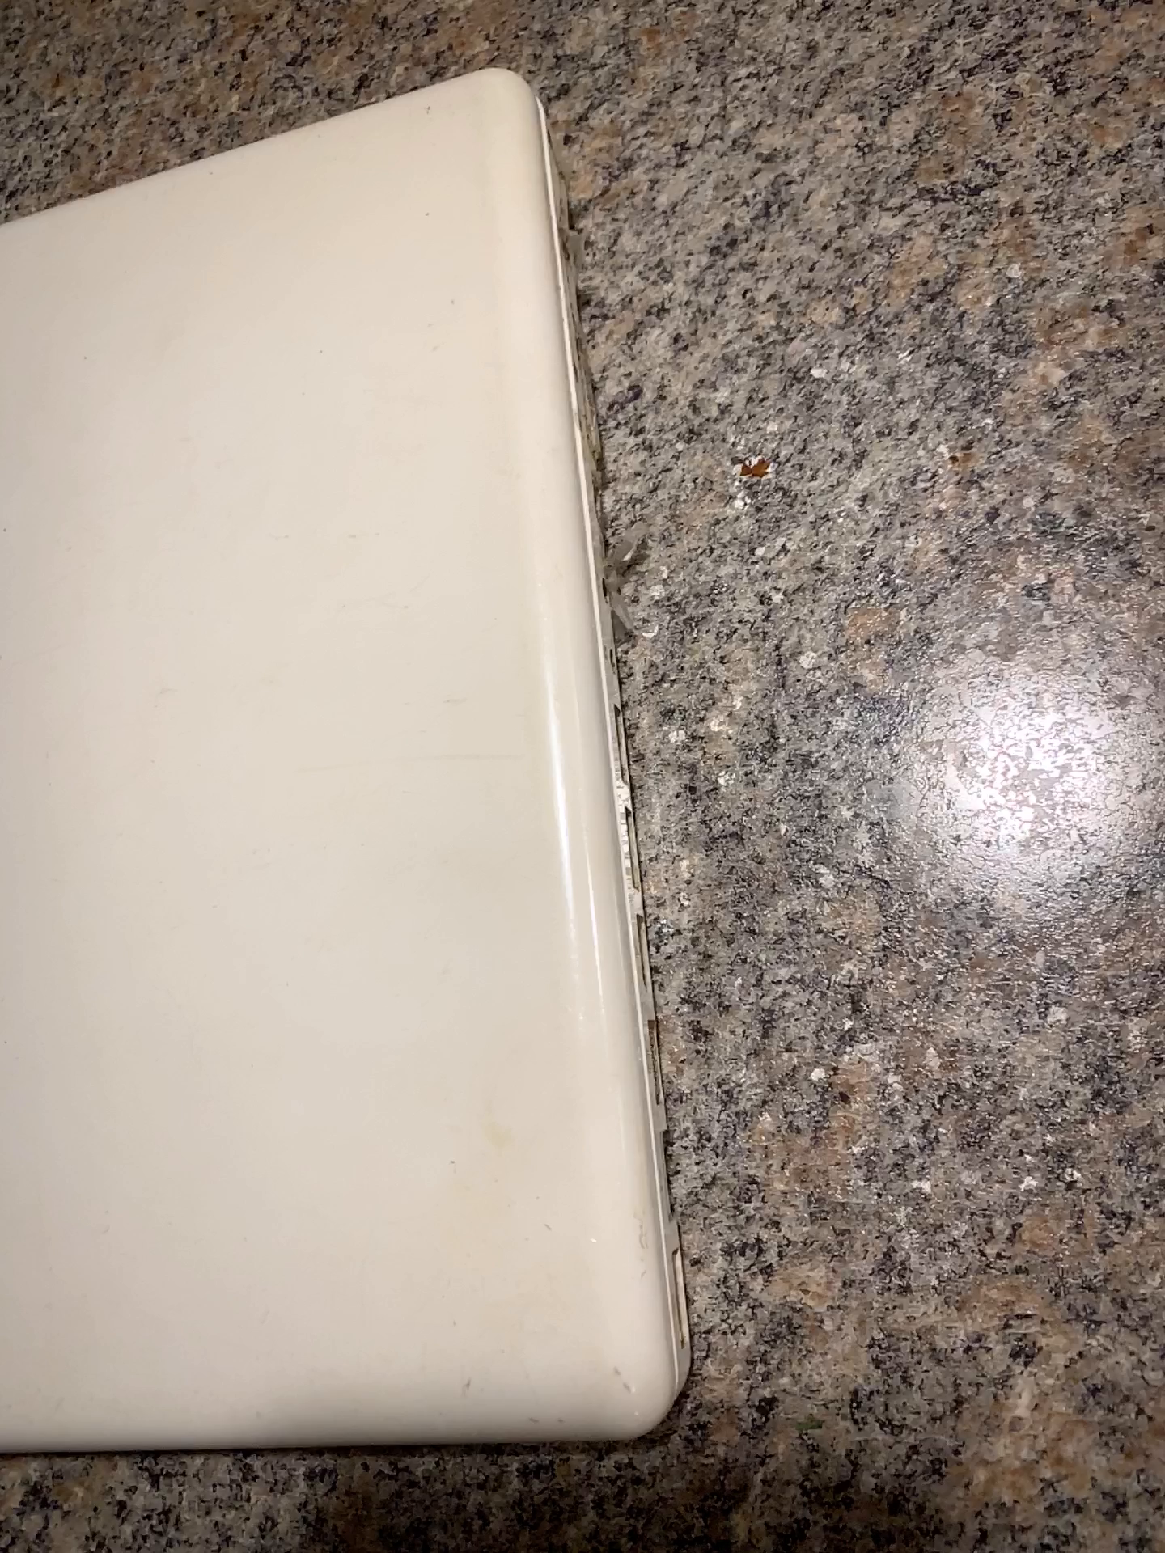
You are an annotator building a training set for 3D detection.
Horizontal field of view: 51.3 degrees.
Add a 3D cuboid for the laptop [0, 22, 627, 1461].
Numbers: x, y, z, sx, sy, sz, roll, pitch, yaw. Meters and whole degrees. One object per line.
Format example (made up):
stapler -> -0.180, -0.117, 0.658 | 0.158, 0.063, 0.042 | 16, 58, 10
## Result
laptop -> -0.148, 0.006, 0.214 | 0.305, 0.002, 0.205 | -10, 75, 18
